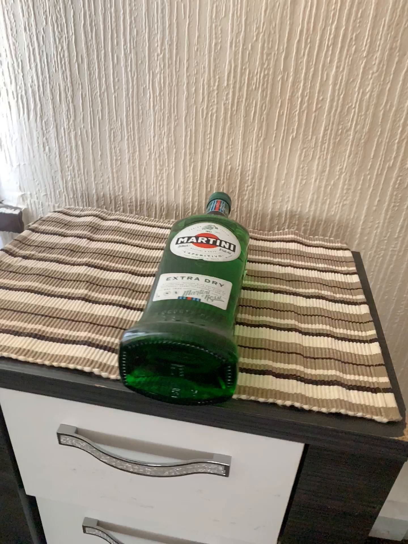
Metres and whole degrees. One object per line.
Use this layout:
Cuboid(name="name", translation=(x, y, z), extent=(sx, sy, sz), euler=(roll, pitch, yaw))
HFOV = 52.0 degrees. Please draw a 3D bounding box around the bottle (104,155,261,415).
Cuboid(name="bottle", translation=(0.002, -0.023, 0.415), extent=(0.090, 0.069, 0.323), euler=(7, 35, 5))
